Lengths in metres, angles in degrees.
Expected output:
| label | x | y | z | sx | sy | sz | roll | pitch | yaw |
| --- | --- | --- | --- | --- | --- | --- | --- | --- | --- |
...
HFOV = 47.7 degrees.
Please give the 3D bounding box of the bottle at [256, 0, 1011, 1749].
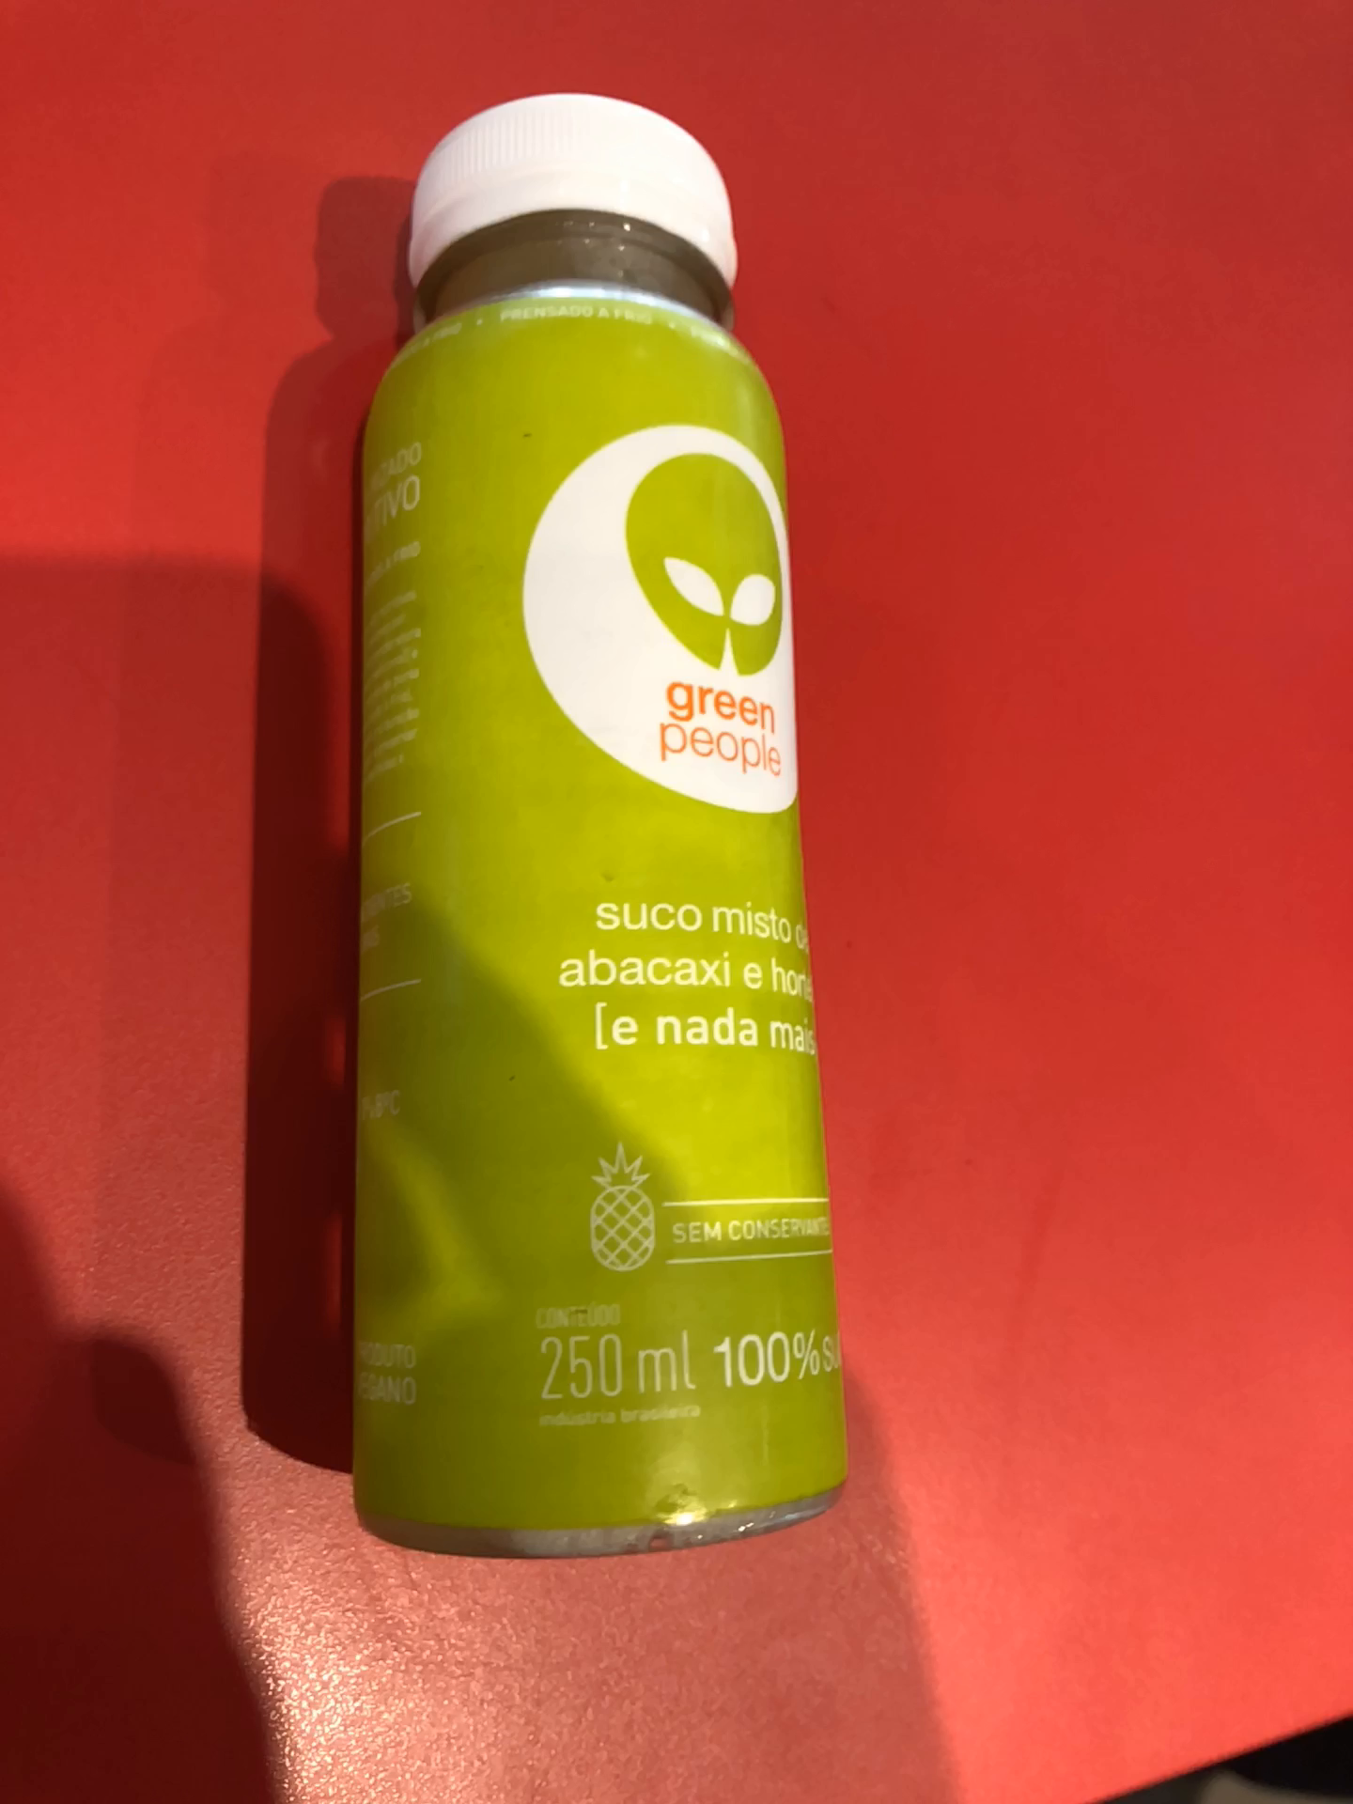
| label | x | y | z | sx | sy | sz | roll | pitch | yaw |
| --- | --- | --- | --- | --- | --- | --- | --- | --- | --- |
| bottle | -0.006 | -0.014 | 0.168 | 0.060 | 0.050 | 0.170 | 4 | 81 | -39 |
